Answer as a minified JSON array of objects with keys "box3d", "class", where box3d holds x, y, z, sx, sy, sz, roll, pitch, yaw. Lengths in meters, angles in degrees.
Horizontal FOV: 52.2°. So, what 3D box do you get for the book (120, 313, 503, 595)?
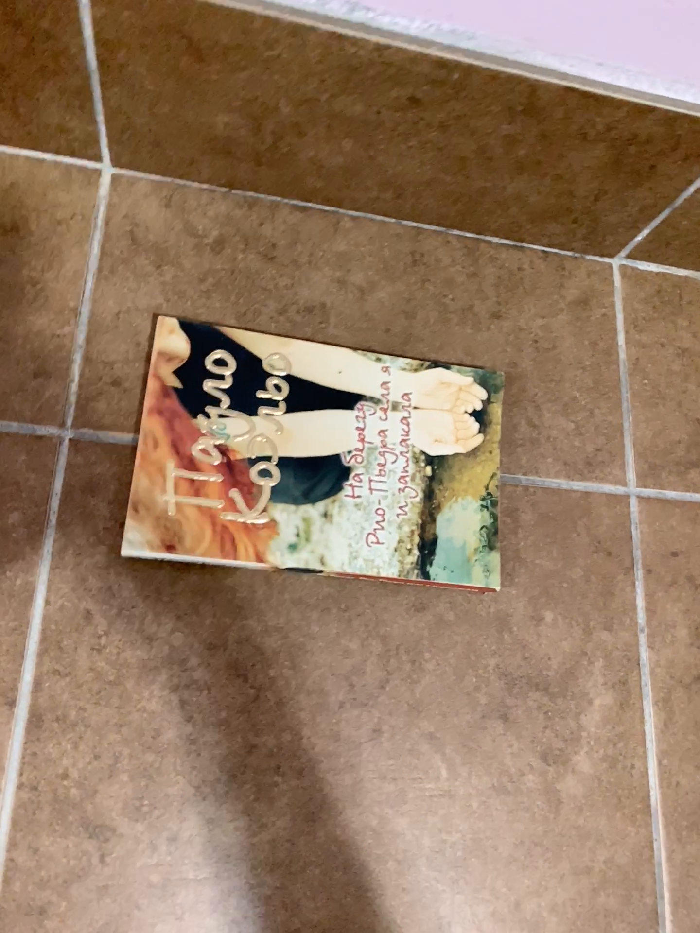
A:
[{"box3d":[-0.011,-0.005,0.358,0.181,0.016,0.119,7,74,-11],"class":"book"}]
